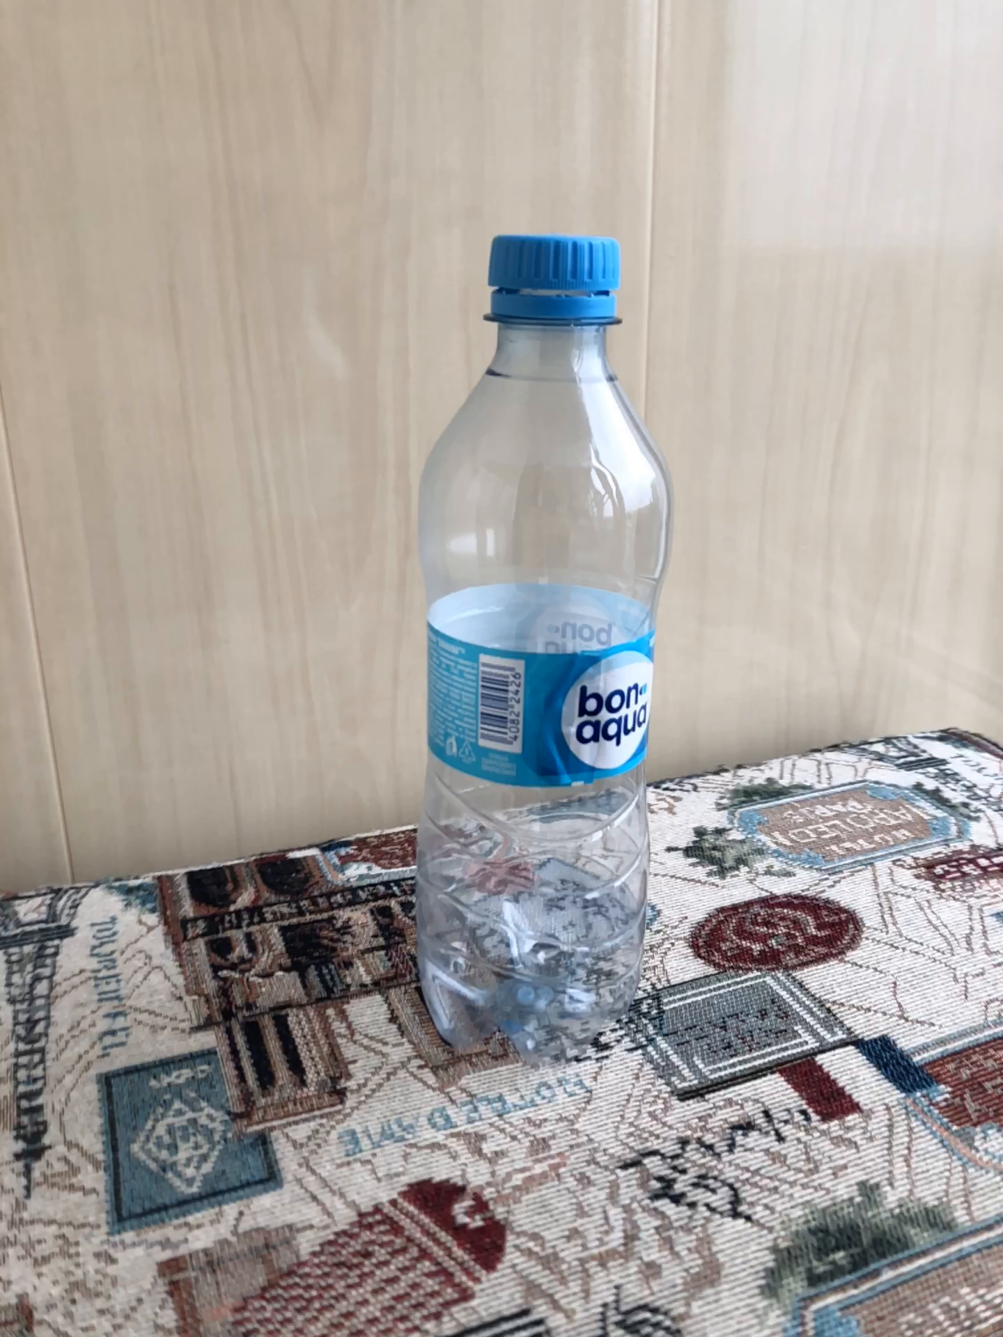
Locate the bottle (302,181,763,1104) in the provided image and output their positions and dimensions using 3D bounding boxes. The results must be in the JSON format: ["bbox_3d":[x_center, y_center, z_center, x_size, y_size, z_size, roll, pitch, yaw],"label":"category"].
[{"bbox_3d":[0.008,-0.009,0.288,0.080,0.209,0.070,-14,23,-34],"label":"bottle"}]
